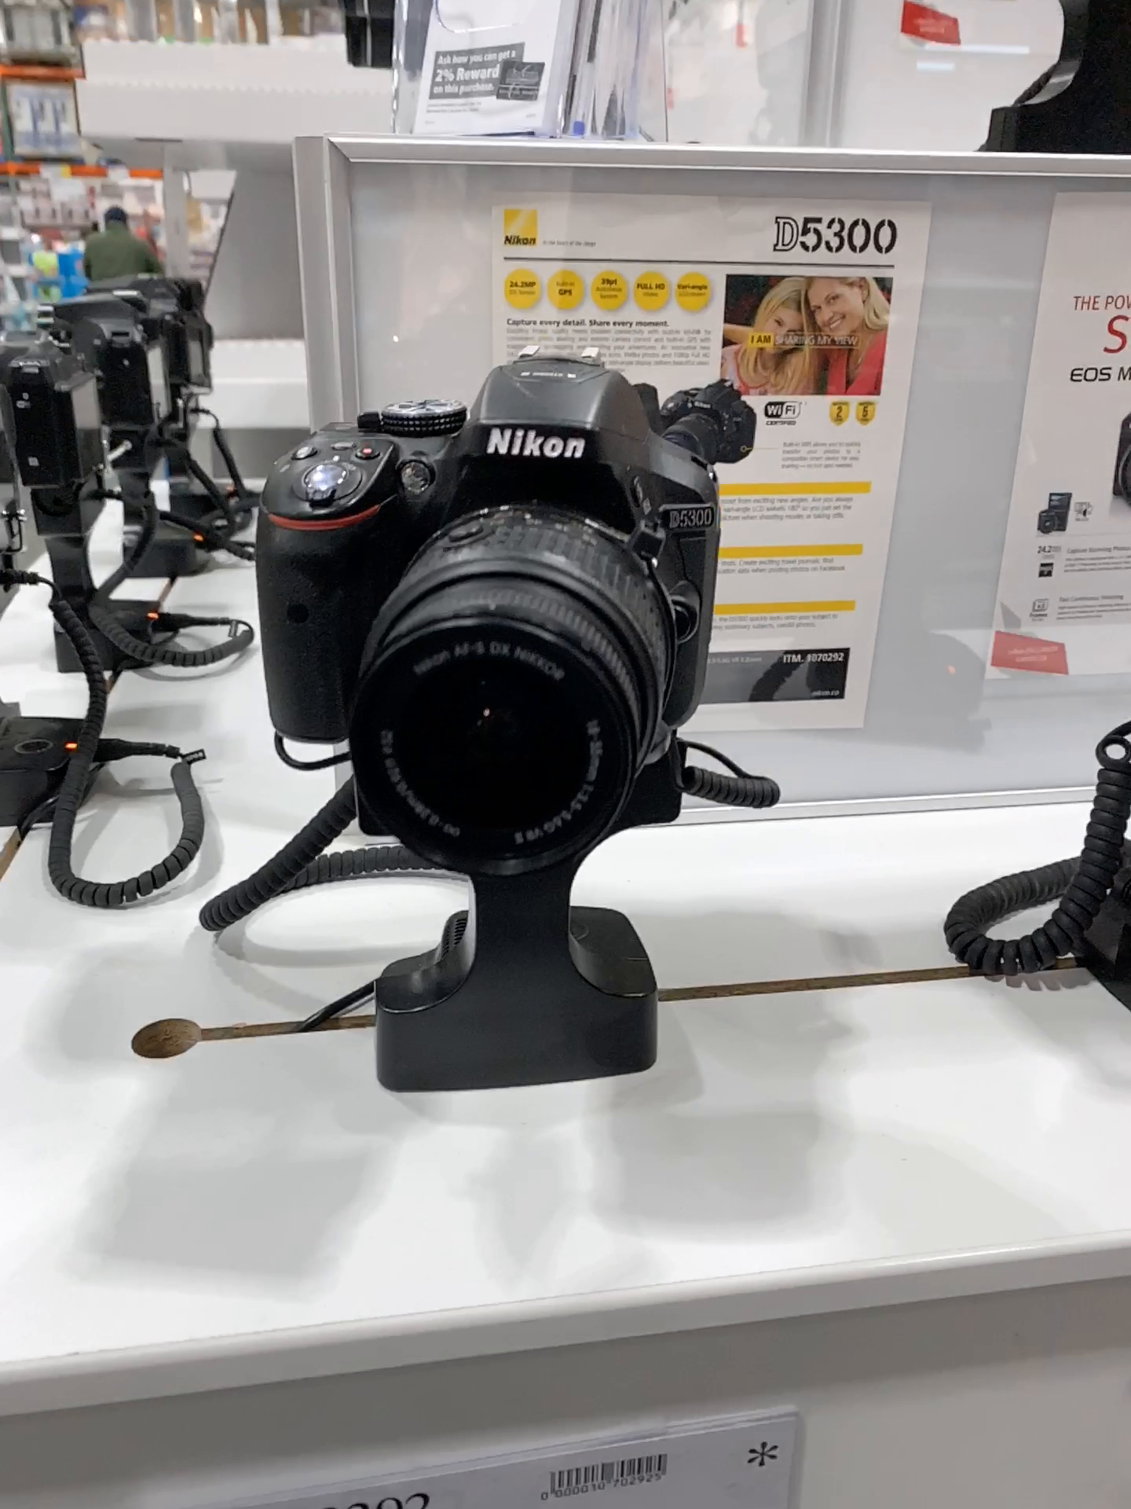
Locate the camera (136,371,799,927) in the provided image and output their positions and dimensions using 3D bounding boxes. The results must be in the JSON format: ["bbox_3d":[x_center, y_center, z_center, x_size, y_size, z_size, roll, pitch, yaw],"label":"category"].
[{"bbox_3d":[-0.016,-0.040,0.298,0.120,0.099,0.151,1,22,2],"label":"camera"}]
